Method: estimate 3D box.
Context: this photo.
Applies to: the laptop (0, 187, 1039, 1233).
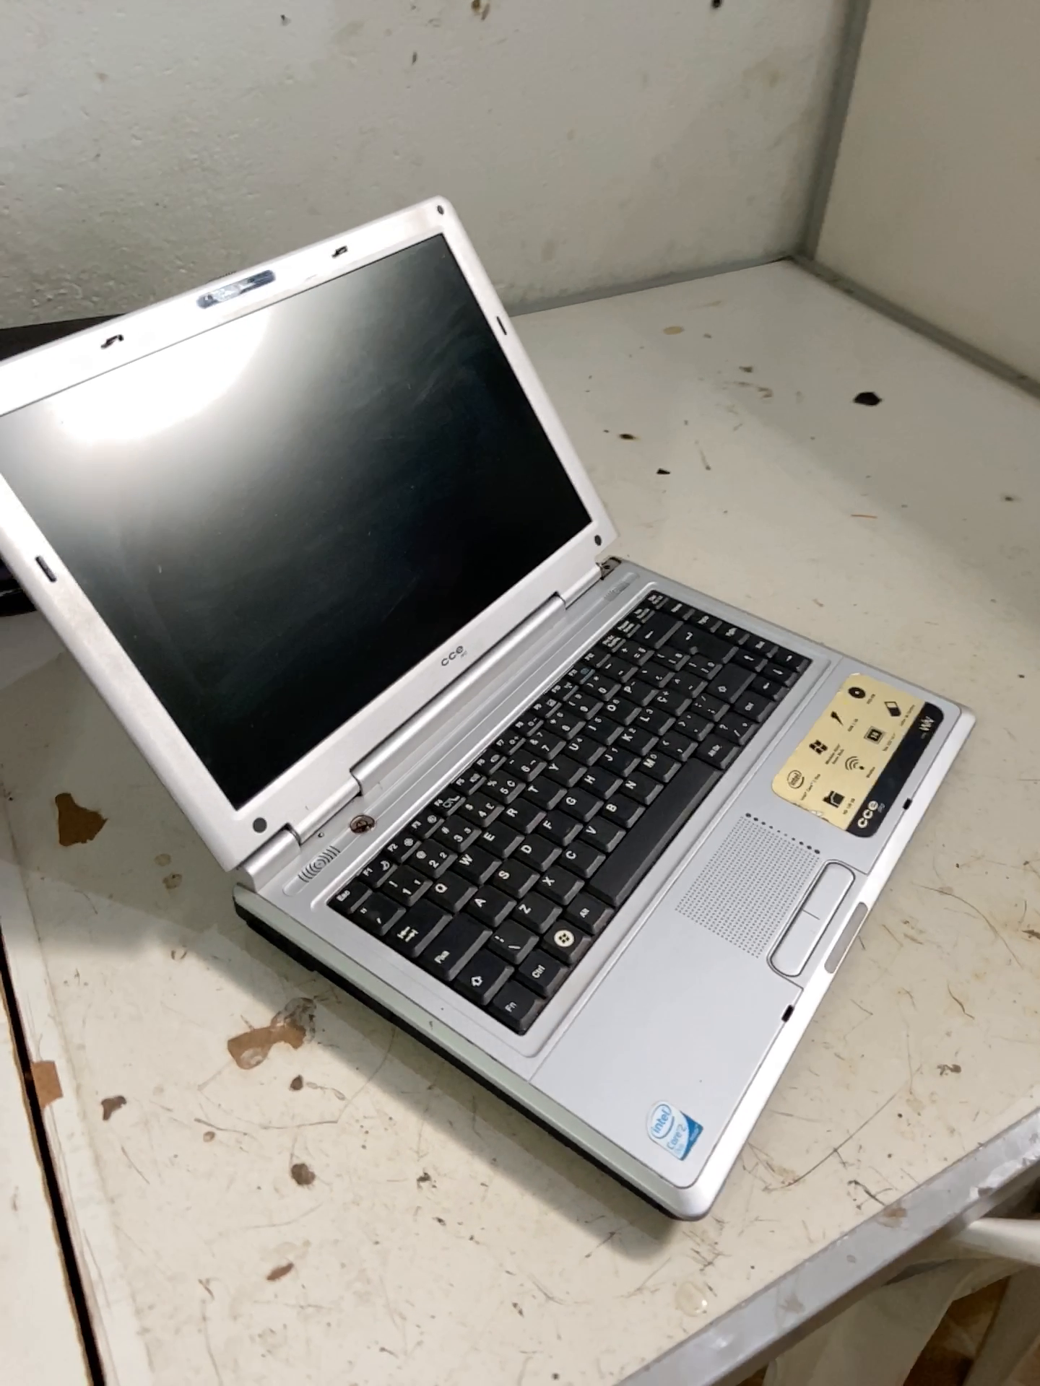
[{"bbox_3d":[0.004,-0.049,0.504,0.387,0.190,0.340,28,48,23],"label":"laptop"}]
